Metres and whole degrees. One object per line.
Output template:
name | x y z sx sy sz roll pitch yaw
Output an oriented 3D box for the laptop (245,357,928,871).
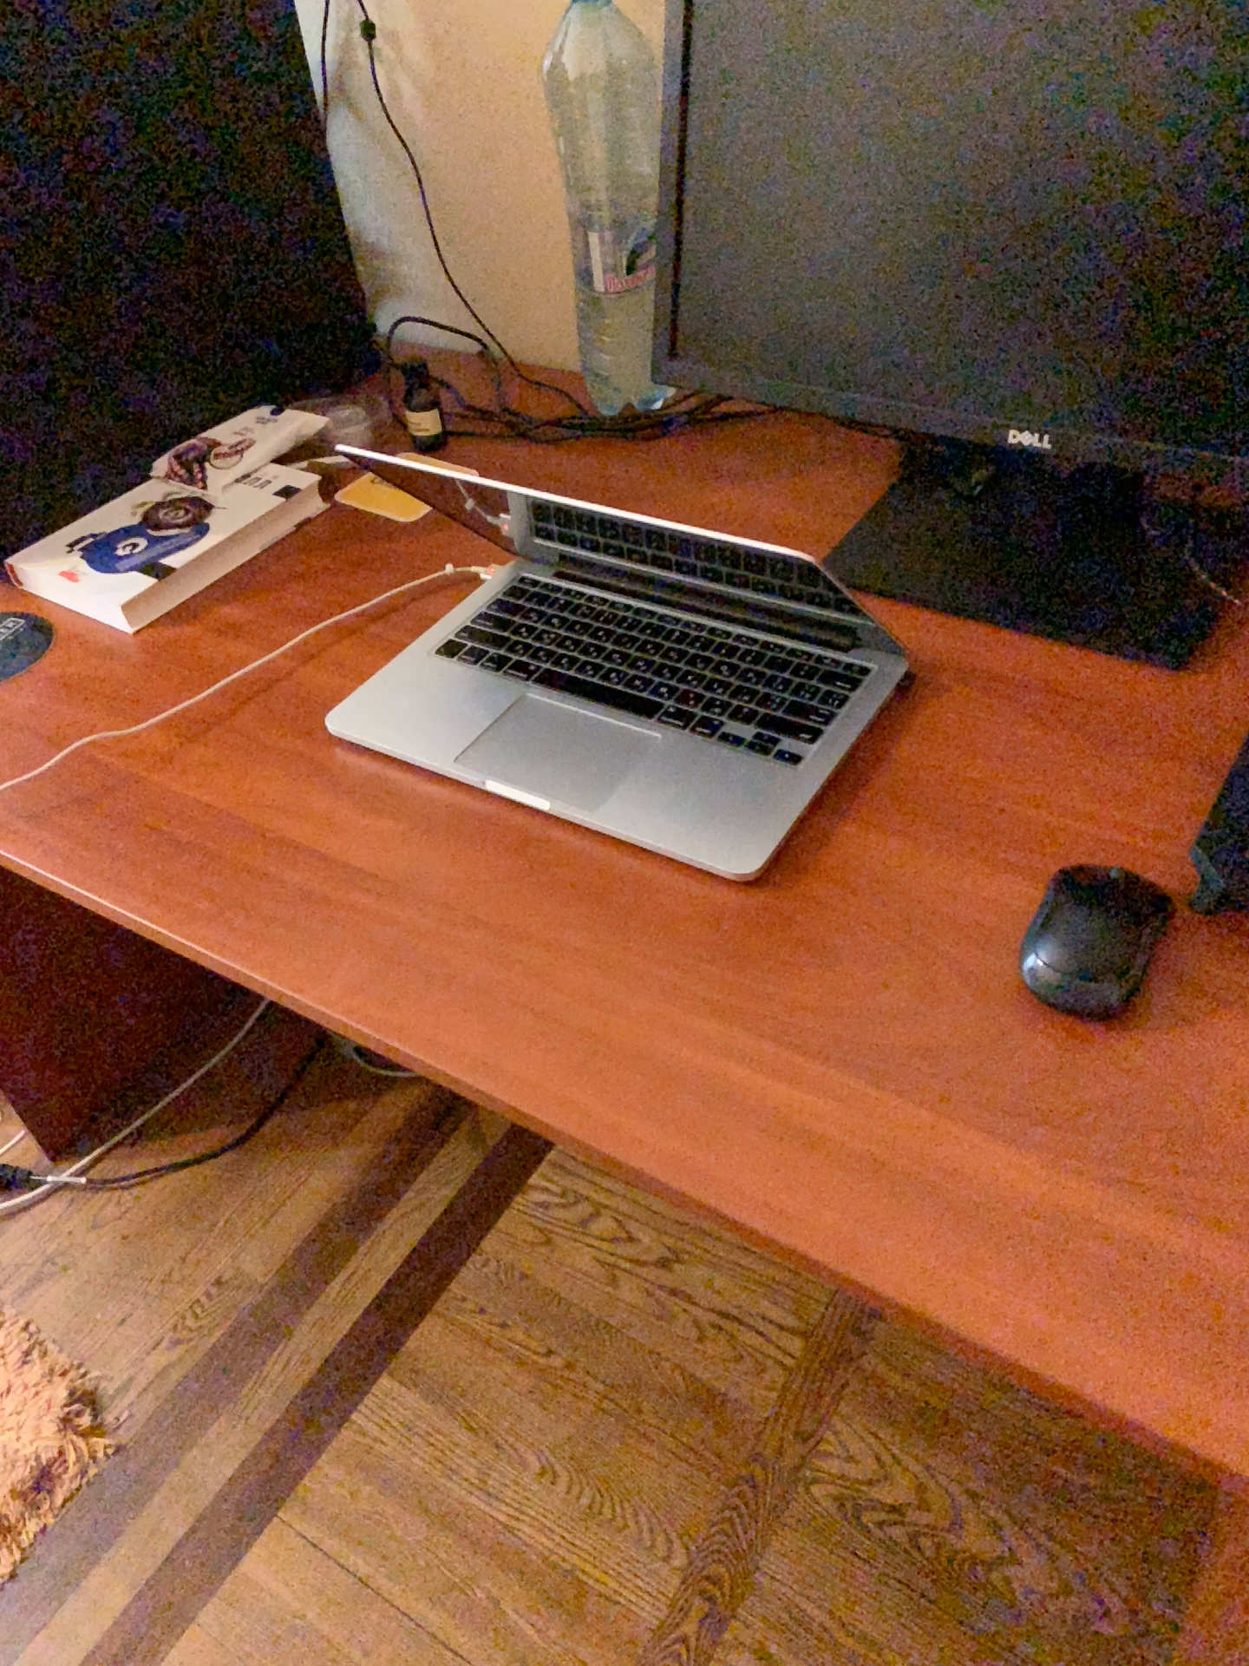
laptop | -0.015 -0.143 0.734 0.303 0.150 0.208 20 49 26
